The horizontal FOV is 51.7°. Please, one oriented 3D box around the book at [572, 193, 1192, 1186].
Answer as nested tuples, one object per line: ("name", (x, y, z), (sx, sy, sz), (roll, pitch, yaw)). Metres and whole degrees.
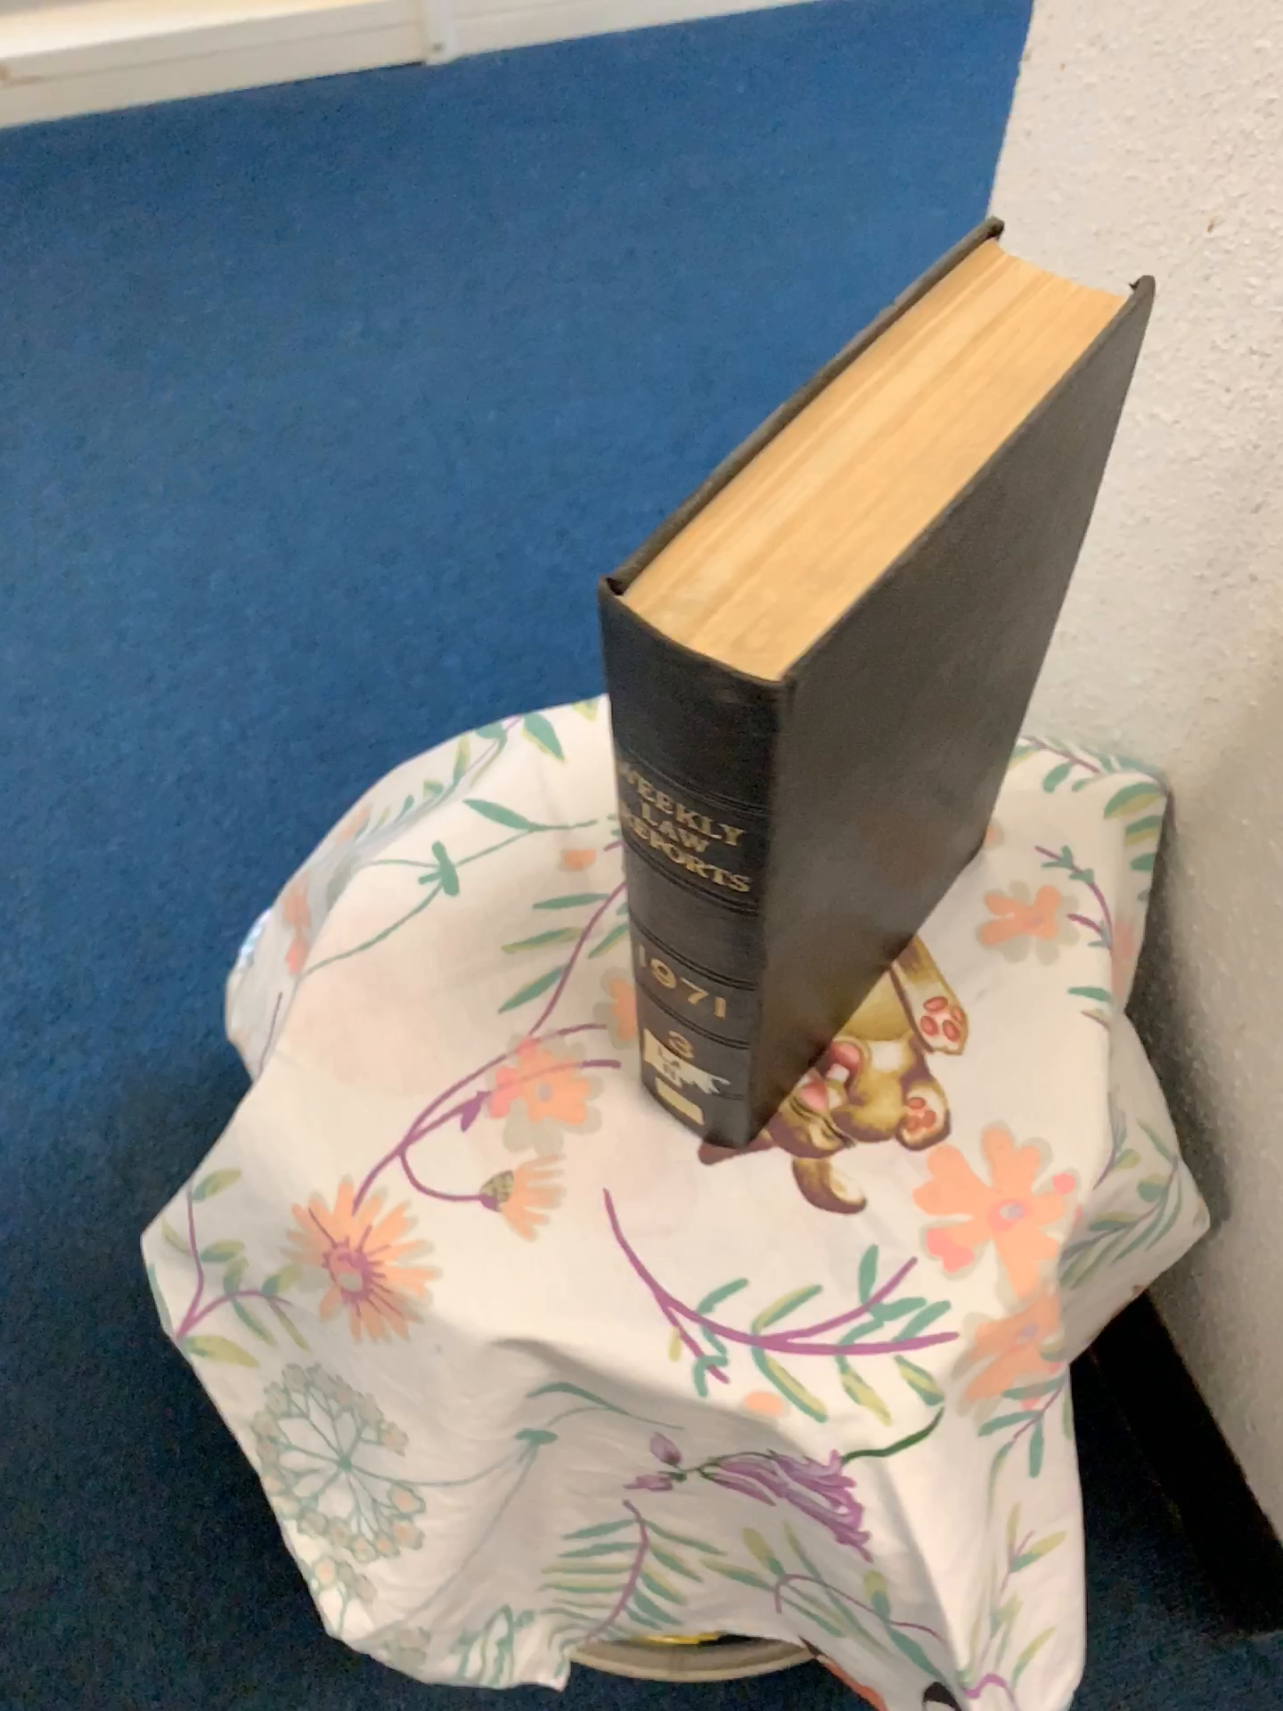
("book", (0.057, -0.026, 0.378), (0.052, 0.244, 0.162), (32, 62, 20))
